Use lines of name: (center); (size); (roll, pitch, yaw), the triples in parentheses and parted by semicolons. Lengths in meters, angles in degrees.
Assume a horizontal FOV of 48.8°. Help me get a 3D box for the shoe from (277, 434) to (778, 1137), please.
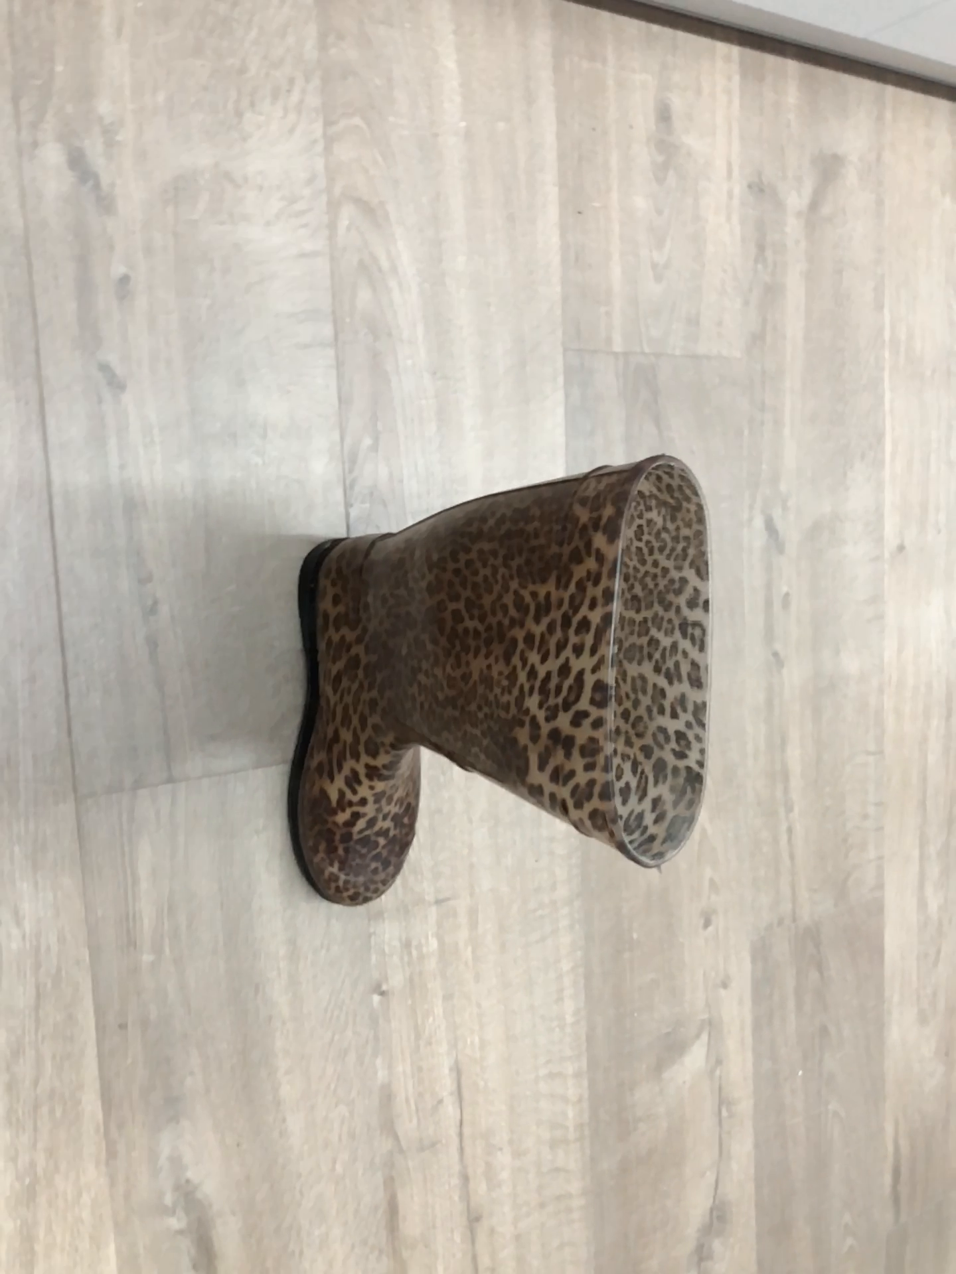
shoe: (-0.003, 0.048, 0.581); (0.090, 0.339, 0.280); (-1, 95, -32)
